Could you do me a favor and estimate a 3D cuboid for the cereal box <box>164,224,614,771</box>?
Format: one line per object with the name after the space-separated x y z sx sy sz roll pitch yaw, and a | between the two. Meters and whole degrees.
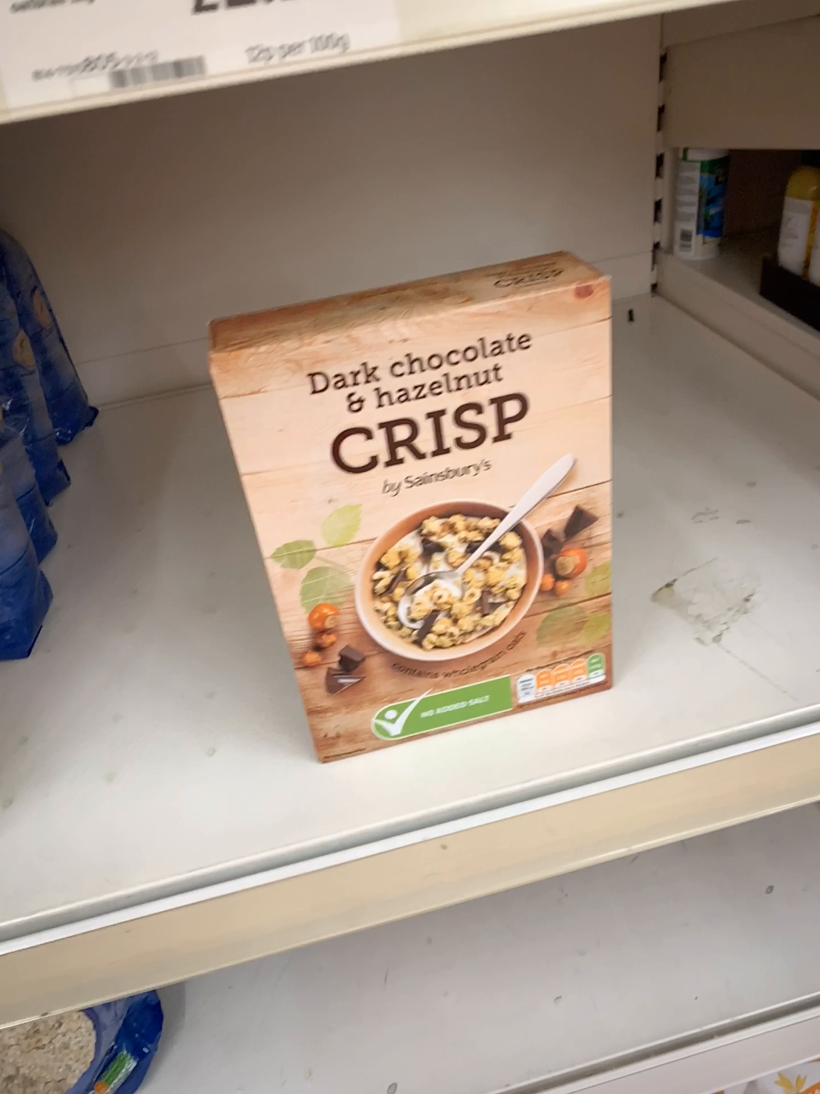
0.003 -0.016 0.437 0.190 0.248 0.061 -13 33 -7 | cereal box
